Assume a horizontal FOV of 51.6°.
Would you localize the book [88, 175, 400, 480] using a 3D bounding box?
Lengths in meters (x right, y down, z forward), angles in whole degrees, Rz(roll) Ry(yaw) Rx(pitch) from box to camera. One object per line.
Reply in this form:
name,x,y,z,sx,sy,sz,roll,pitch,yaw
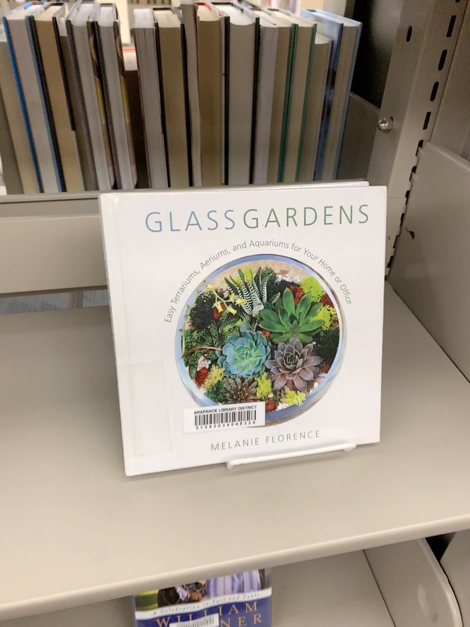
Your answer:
book,0.010,0.006,0.308,0.180,0.174,0.030,-5,13,-10
